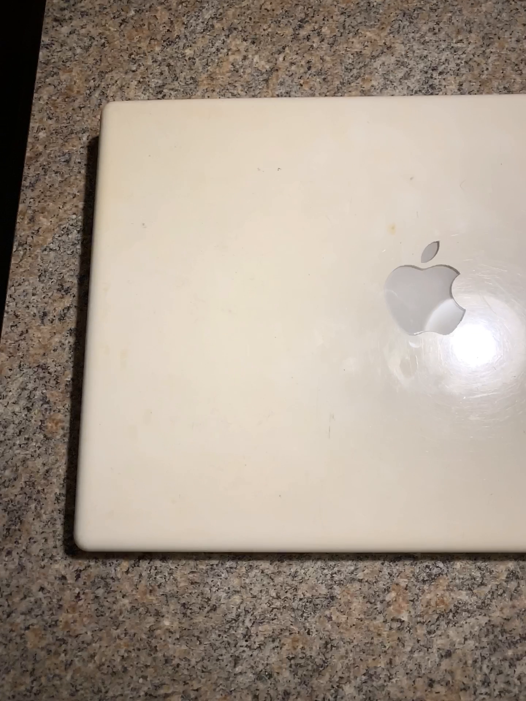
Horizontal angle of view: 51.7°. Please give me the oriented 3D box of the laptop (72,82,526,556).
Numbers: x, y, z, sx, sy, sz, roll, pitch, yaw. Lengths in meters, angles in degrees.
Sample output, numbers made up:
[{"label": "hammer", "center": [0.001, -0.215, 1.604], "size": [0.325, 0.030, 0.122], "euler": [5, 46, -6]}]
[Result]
[{"label": "laptop", "center": [0.071, -0.022, 0.239], "size": [0.305, 0.002, 0.205], "euler": [-1, 77, 5]}]
